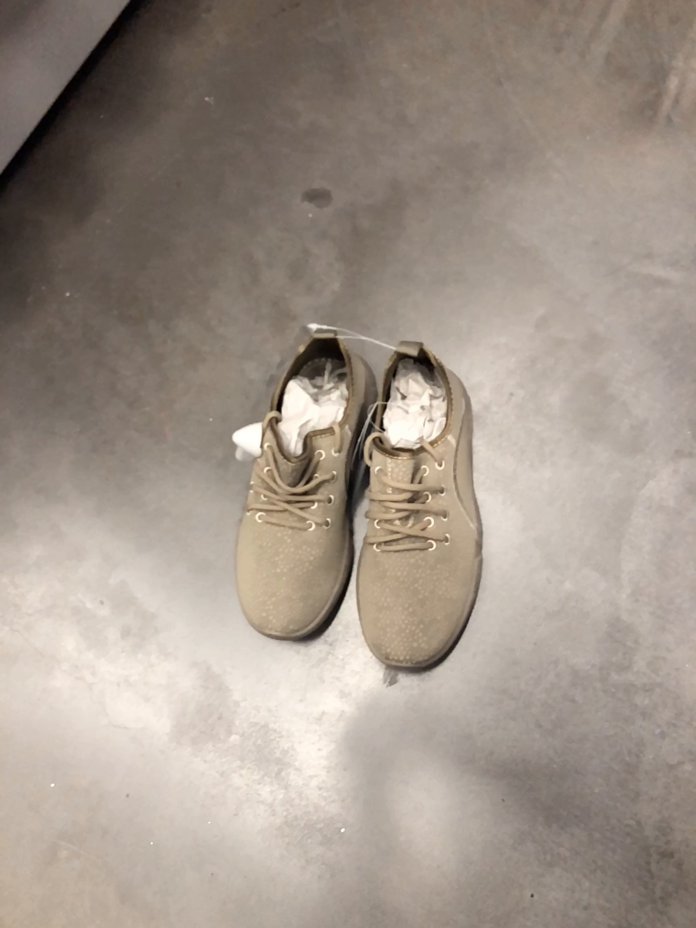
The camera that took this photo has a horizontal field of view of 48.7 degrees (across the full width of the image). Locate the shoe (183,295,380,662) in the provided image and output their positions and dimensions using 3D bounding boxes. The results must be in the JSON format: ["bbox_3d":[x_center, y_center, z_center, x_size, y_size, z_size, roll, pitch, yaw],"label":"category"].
[{"bbox_3d":[-0.038,0.013,0.564,0.090,0.110,0.240,5,72,8],"label":"shoe"}]

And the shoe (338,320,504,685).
[{"bbox_3d":[0.055,0.030,0.555,0.100,0.110,0.240,1,72,6],"label":"shoe"}]
